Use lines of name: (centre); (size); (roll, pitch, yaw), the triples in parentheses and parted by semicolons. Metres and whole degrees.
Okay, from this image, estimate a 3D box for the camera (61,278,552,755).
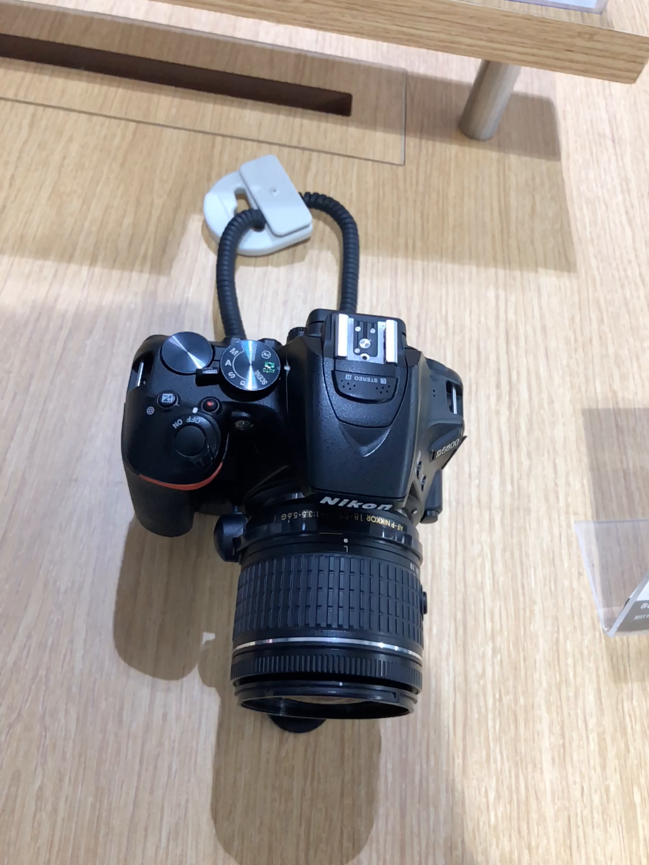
camera: (-0.006, 0.030, 0.237); (0.120, 0.070, 0.130); (5, 61, -7)
